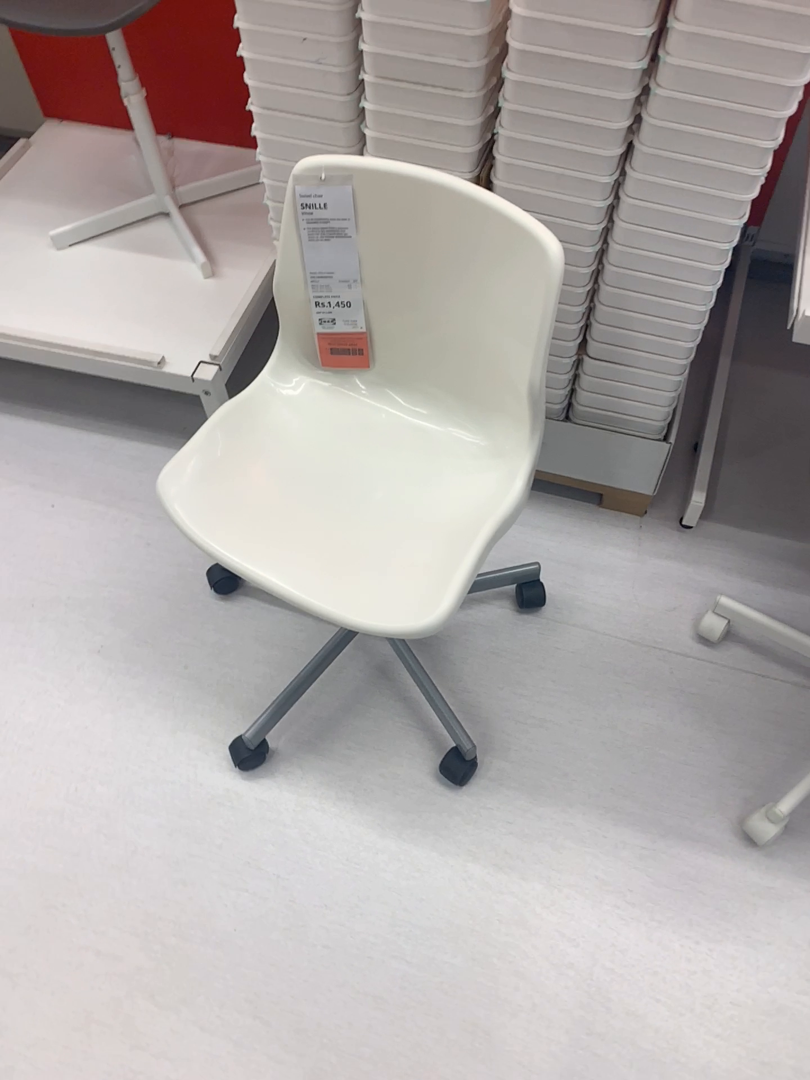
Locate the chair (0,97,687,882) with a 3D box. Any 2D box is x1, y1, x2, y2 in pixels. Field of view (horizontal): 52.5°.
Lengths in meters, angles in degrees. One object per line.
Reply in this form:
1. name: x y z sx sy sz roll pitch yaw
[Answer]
1. chair: -0.095 -0.059 1.181 0.641 0.688 0.681 22 60 17
